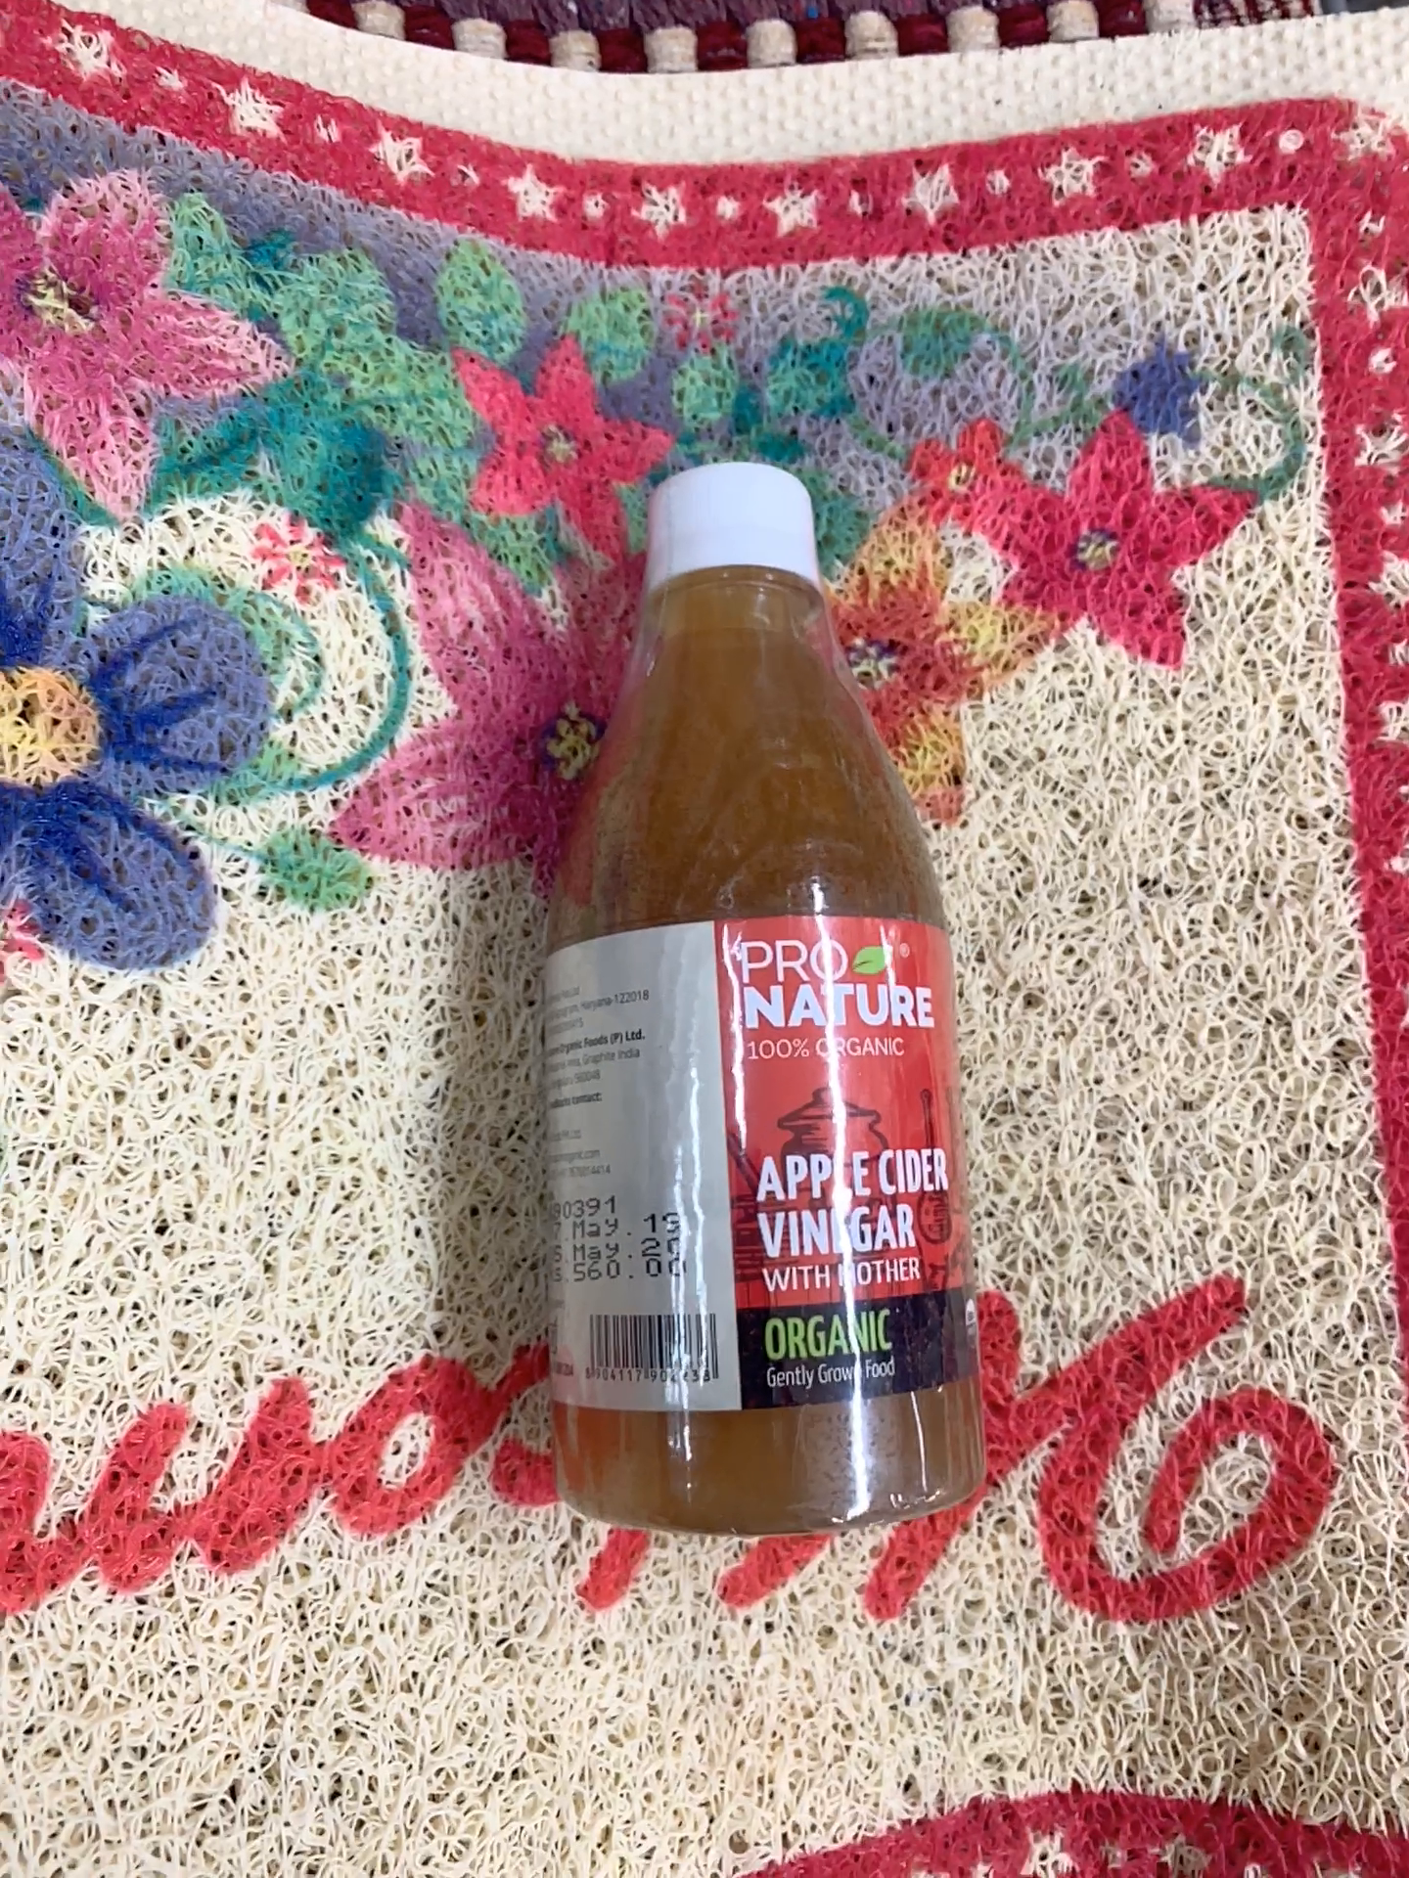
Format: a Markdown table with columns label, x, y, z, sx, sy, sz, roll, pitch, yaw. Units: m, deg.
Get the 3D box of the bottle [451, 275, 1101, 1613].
| label | x | y | z | sx | sy | sz | roll | pitch | yaw |
| --- | --- | --- | --- | --- | --- | --- | --- | --- | --- |
| bottle | 0.011 | 0.001 | 0.217 | 0.080 | 0.050 | 0.160 | 2 | 87 | -29 |
